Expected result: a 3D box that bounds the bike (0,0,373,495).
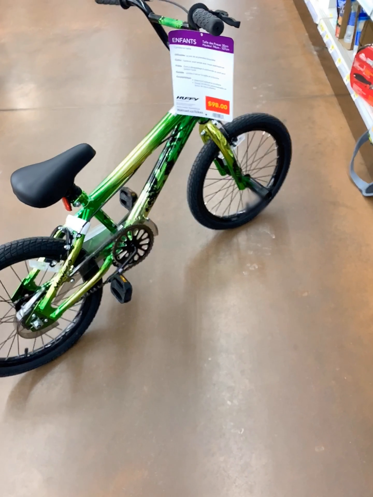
[{"bbox_3d":[-0.036,-0.194,1.091,1.407,1.035,0.719,-35,54,-16],"label":"bike"}]
